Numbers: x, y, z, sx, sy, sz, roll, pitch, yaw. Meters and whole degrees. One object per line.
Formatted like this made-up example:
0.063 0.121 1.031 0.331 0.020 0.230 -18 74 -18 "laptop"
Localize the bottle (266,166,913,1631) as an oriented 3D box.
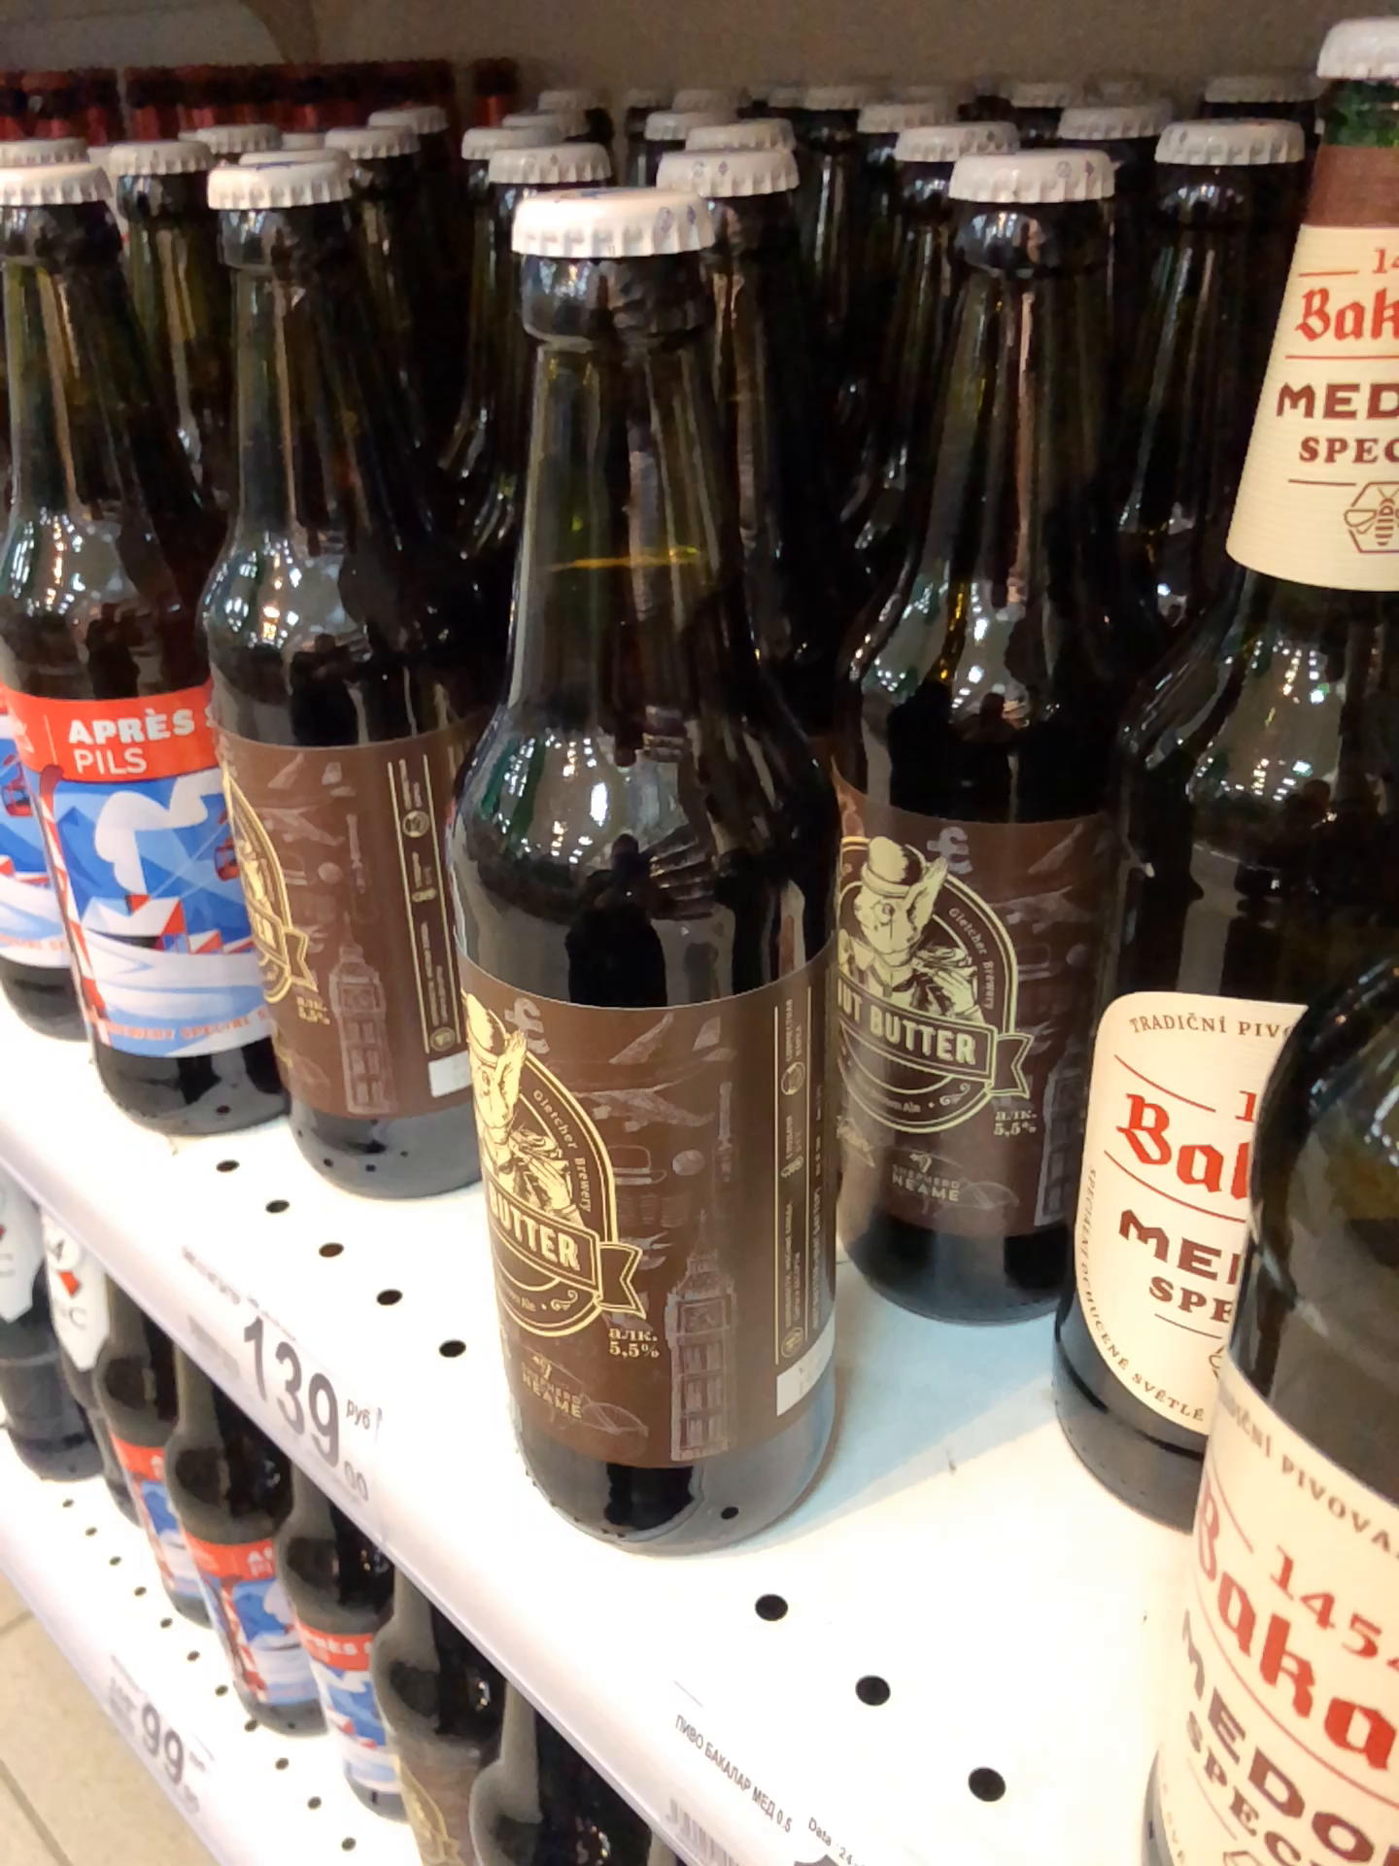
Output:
-0.013 0.002 0.272 0.060 0.240 0.070 -22 34 -31 "bottle"
